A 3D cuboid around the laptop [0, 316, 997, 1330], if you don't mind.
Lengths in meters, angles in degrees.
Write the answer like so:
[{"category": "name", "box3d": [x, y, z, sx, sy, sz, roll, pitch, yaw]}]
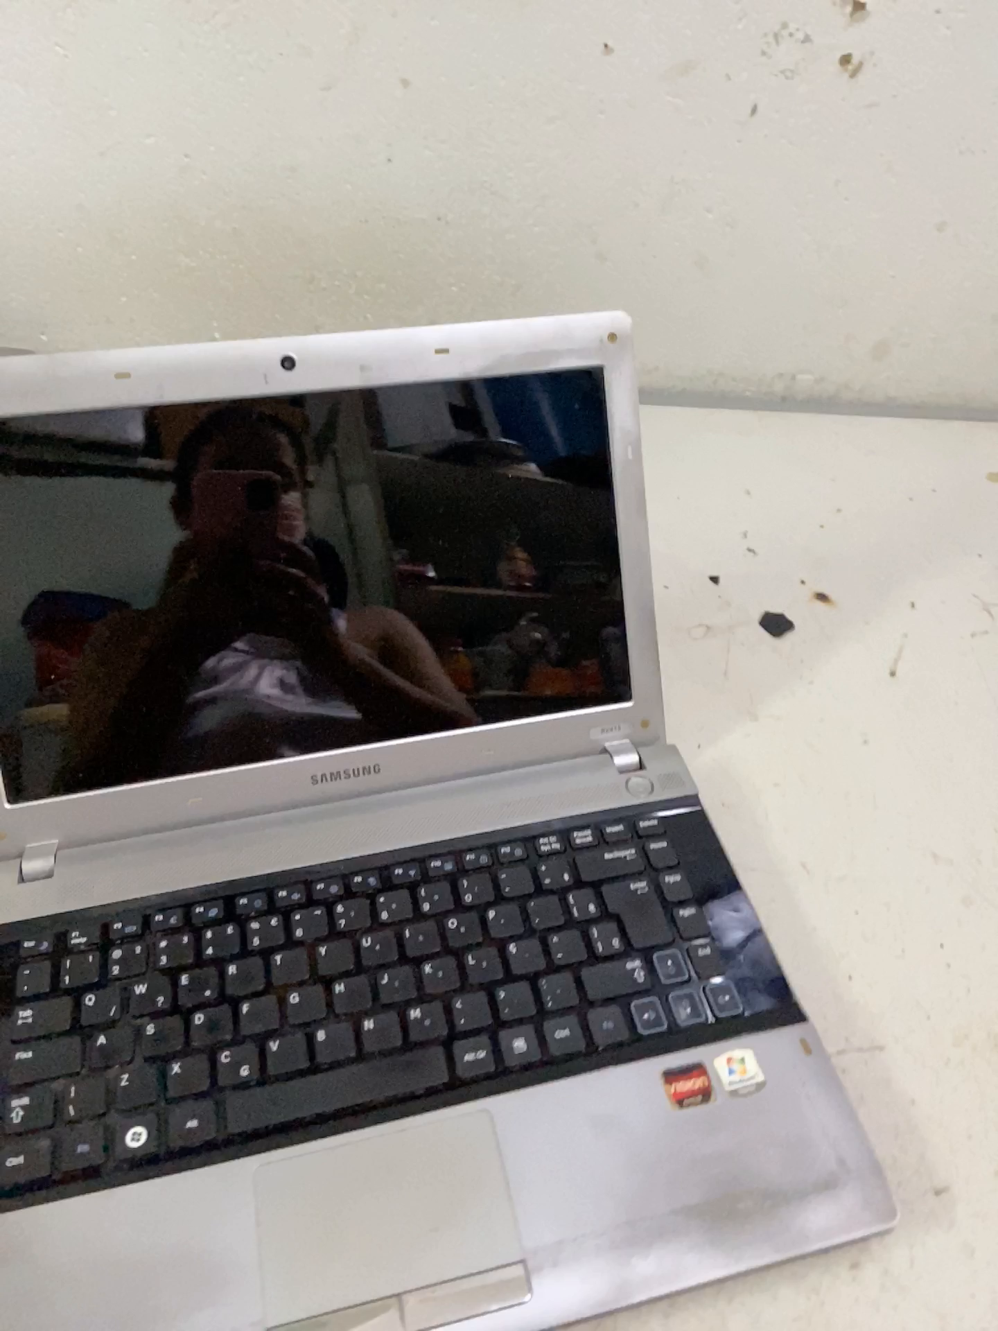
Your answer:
[{"category": "laptop", "box3d": [-0.059, 0.038, 0.408, 0.342, 0.180, 0.368, -8, 44, -11]}]
